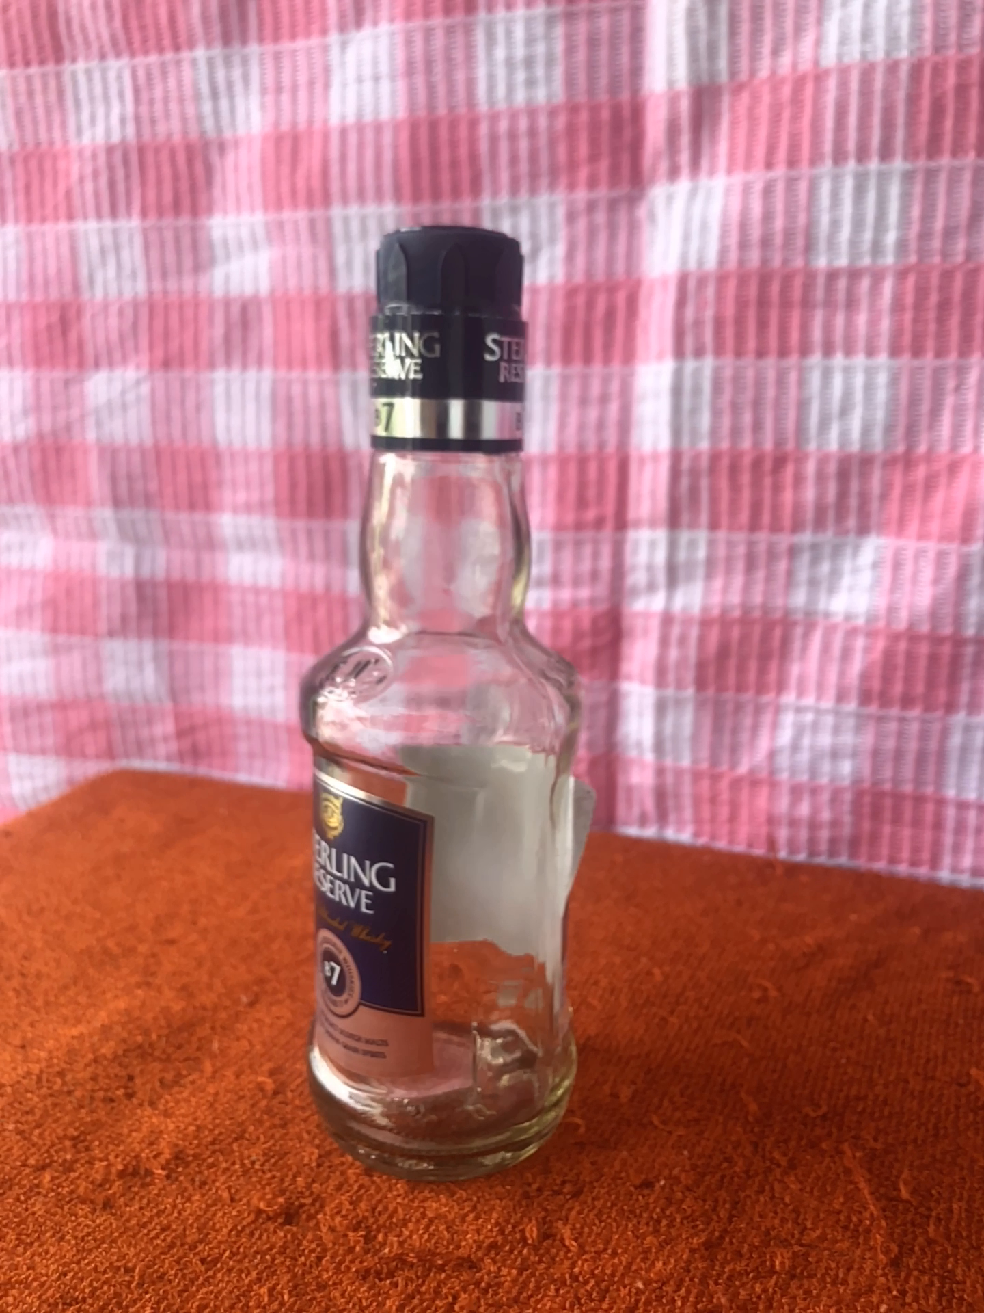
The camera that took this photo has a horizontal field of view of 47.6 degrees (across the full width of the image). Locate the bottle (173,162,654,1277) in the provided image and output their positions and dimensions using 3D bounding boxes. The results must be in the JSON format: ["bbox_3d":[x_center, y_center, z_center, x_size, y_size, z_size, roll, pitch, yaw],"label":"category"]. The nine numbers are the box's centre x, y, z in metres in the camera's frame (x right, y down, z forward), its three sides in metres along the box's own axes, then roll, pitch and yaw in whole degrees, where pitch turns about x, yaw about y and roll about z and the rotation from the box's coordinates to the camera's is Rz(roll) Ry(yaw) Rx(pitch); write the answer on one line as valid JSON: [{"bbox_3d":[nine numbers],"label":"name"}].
[{"bbox_3d":[-0.015,0.010,0.199,0.050,0.169,0.060,-12,20,-39],"label":"bottle"}]
